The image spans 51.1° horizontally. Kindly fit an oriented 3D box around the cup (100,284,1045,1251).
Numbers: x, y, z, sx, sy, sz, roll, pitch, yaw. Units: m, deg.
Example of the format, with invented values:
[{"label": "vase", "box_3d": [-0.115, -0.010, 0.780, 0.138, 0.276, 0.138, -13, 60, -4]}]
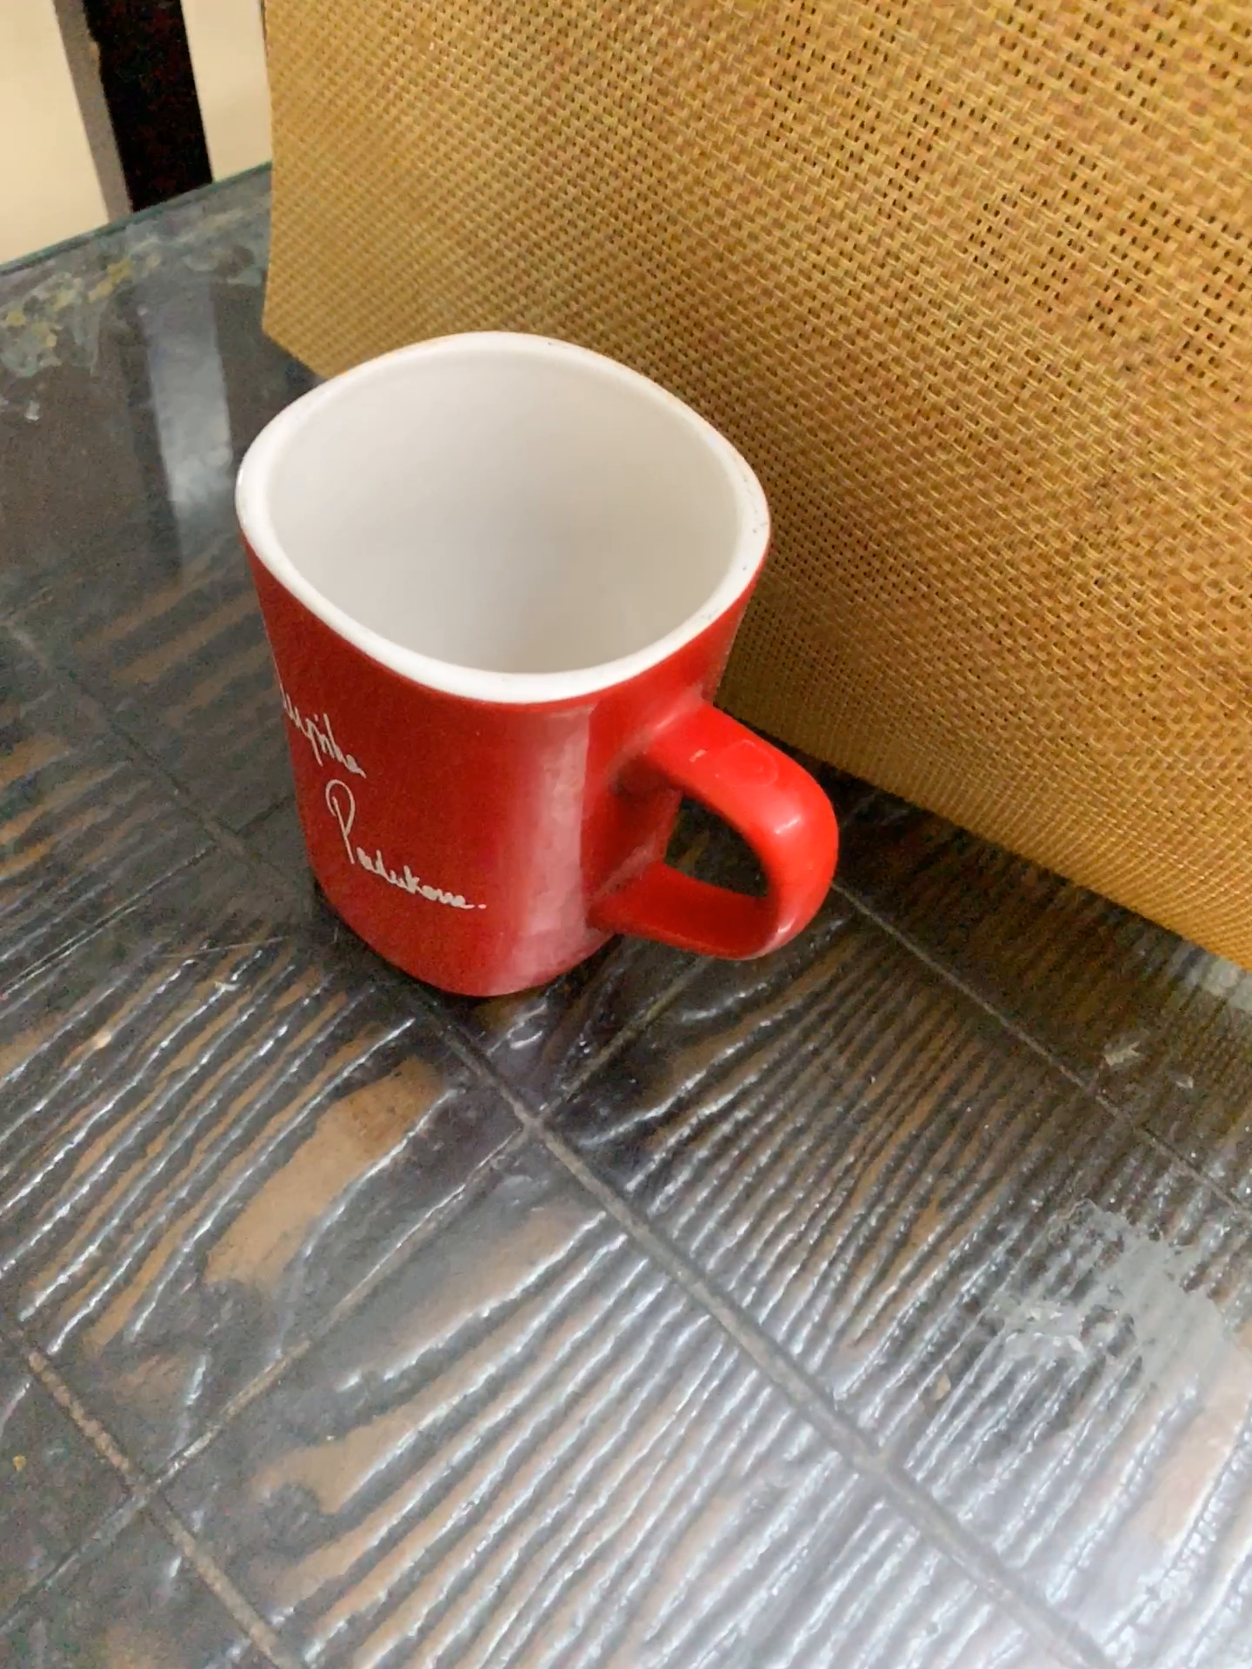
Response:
[{"label": "cup", "box_3d": [-0.012, -0.011, 0.197, 0.070, 0.080, 0.100, -36, 67, -28]}]
